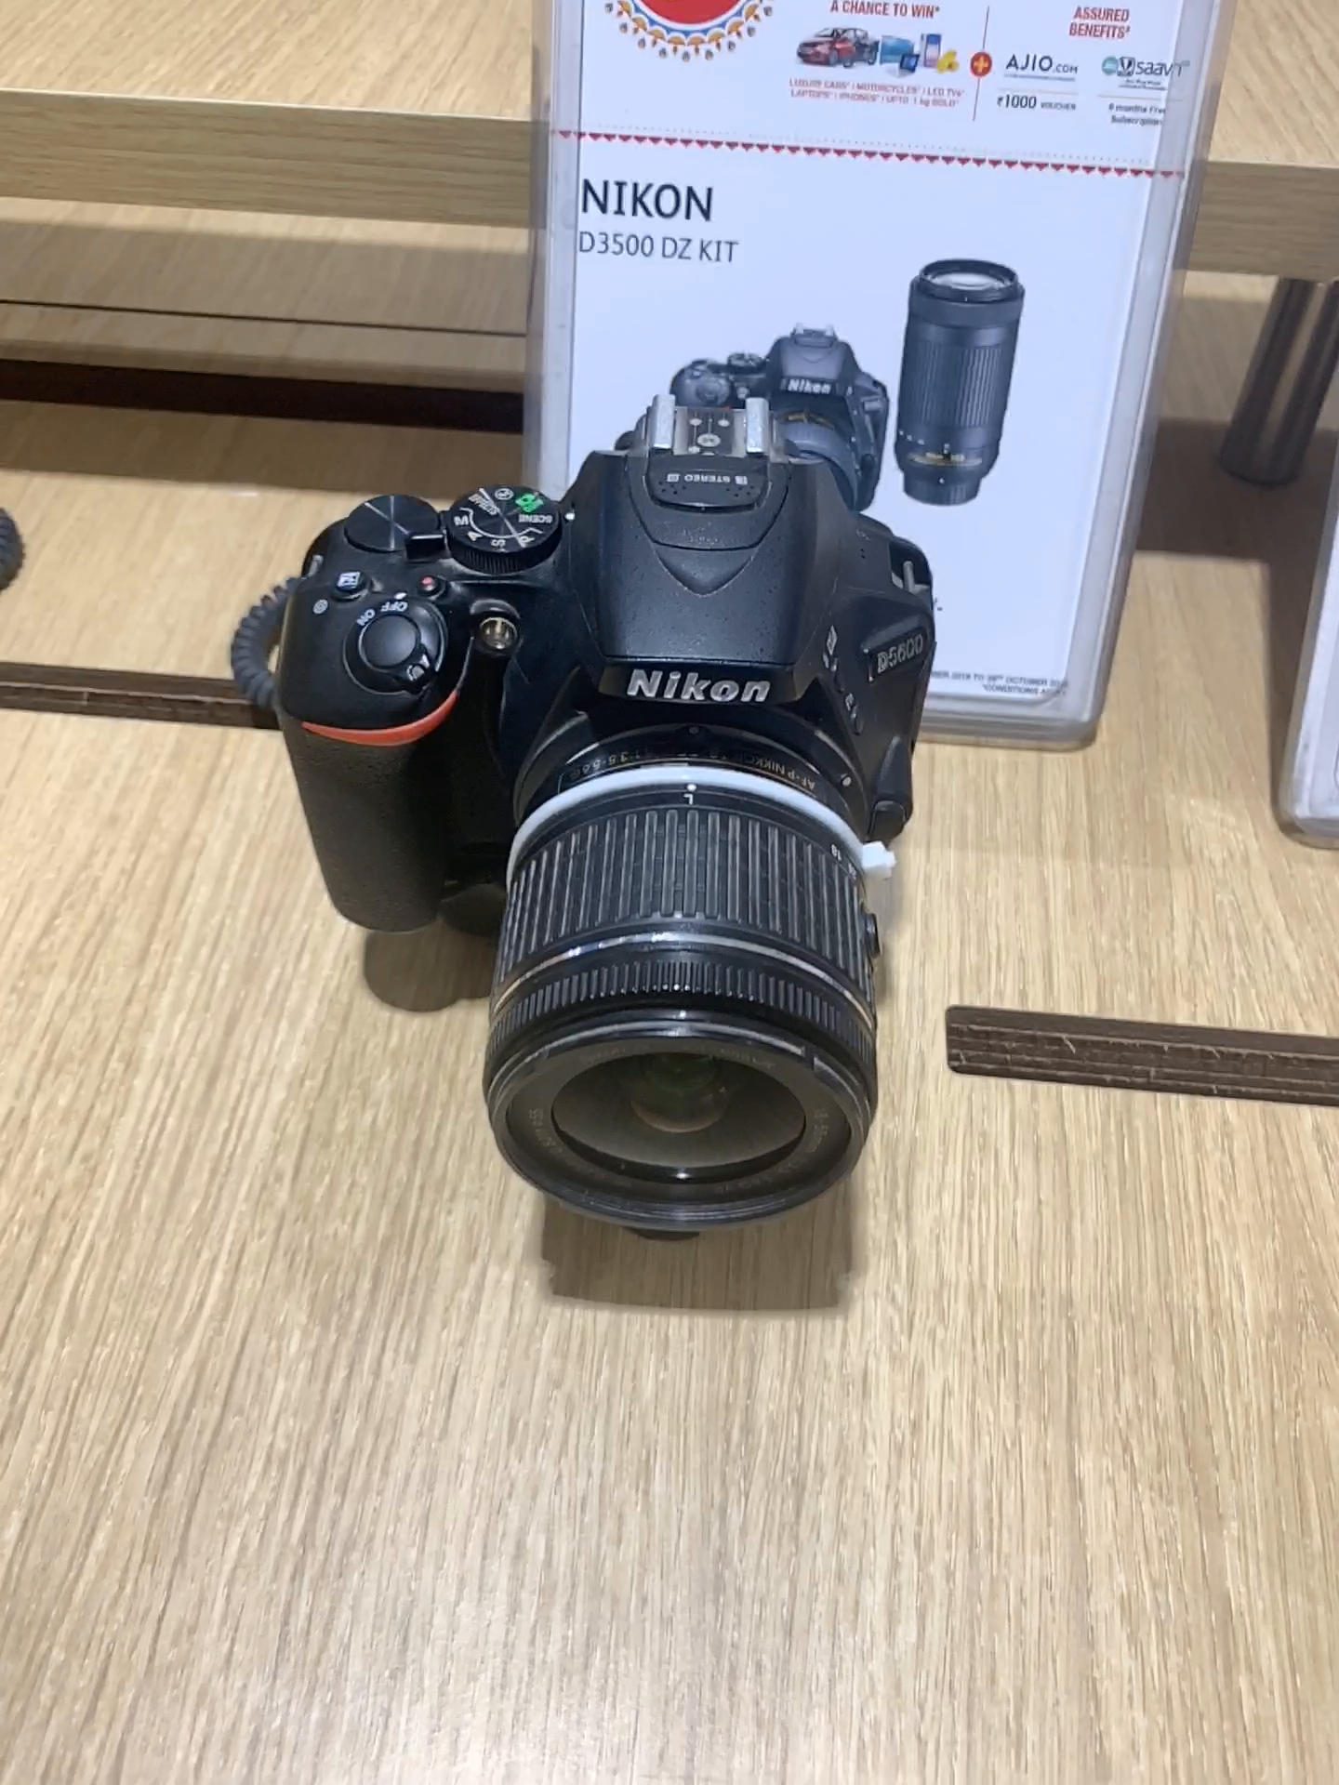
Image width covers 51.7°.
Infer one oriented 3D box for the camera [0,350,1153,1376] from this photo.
[{"bbox_3d":[-0.011,-0.006,0.222,0.130,0.100,0.120,4,50,2],"label":"camera"}]
